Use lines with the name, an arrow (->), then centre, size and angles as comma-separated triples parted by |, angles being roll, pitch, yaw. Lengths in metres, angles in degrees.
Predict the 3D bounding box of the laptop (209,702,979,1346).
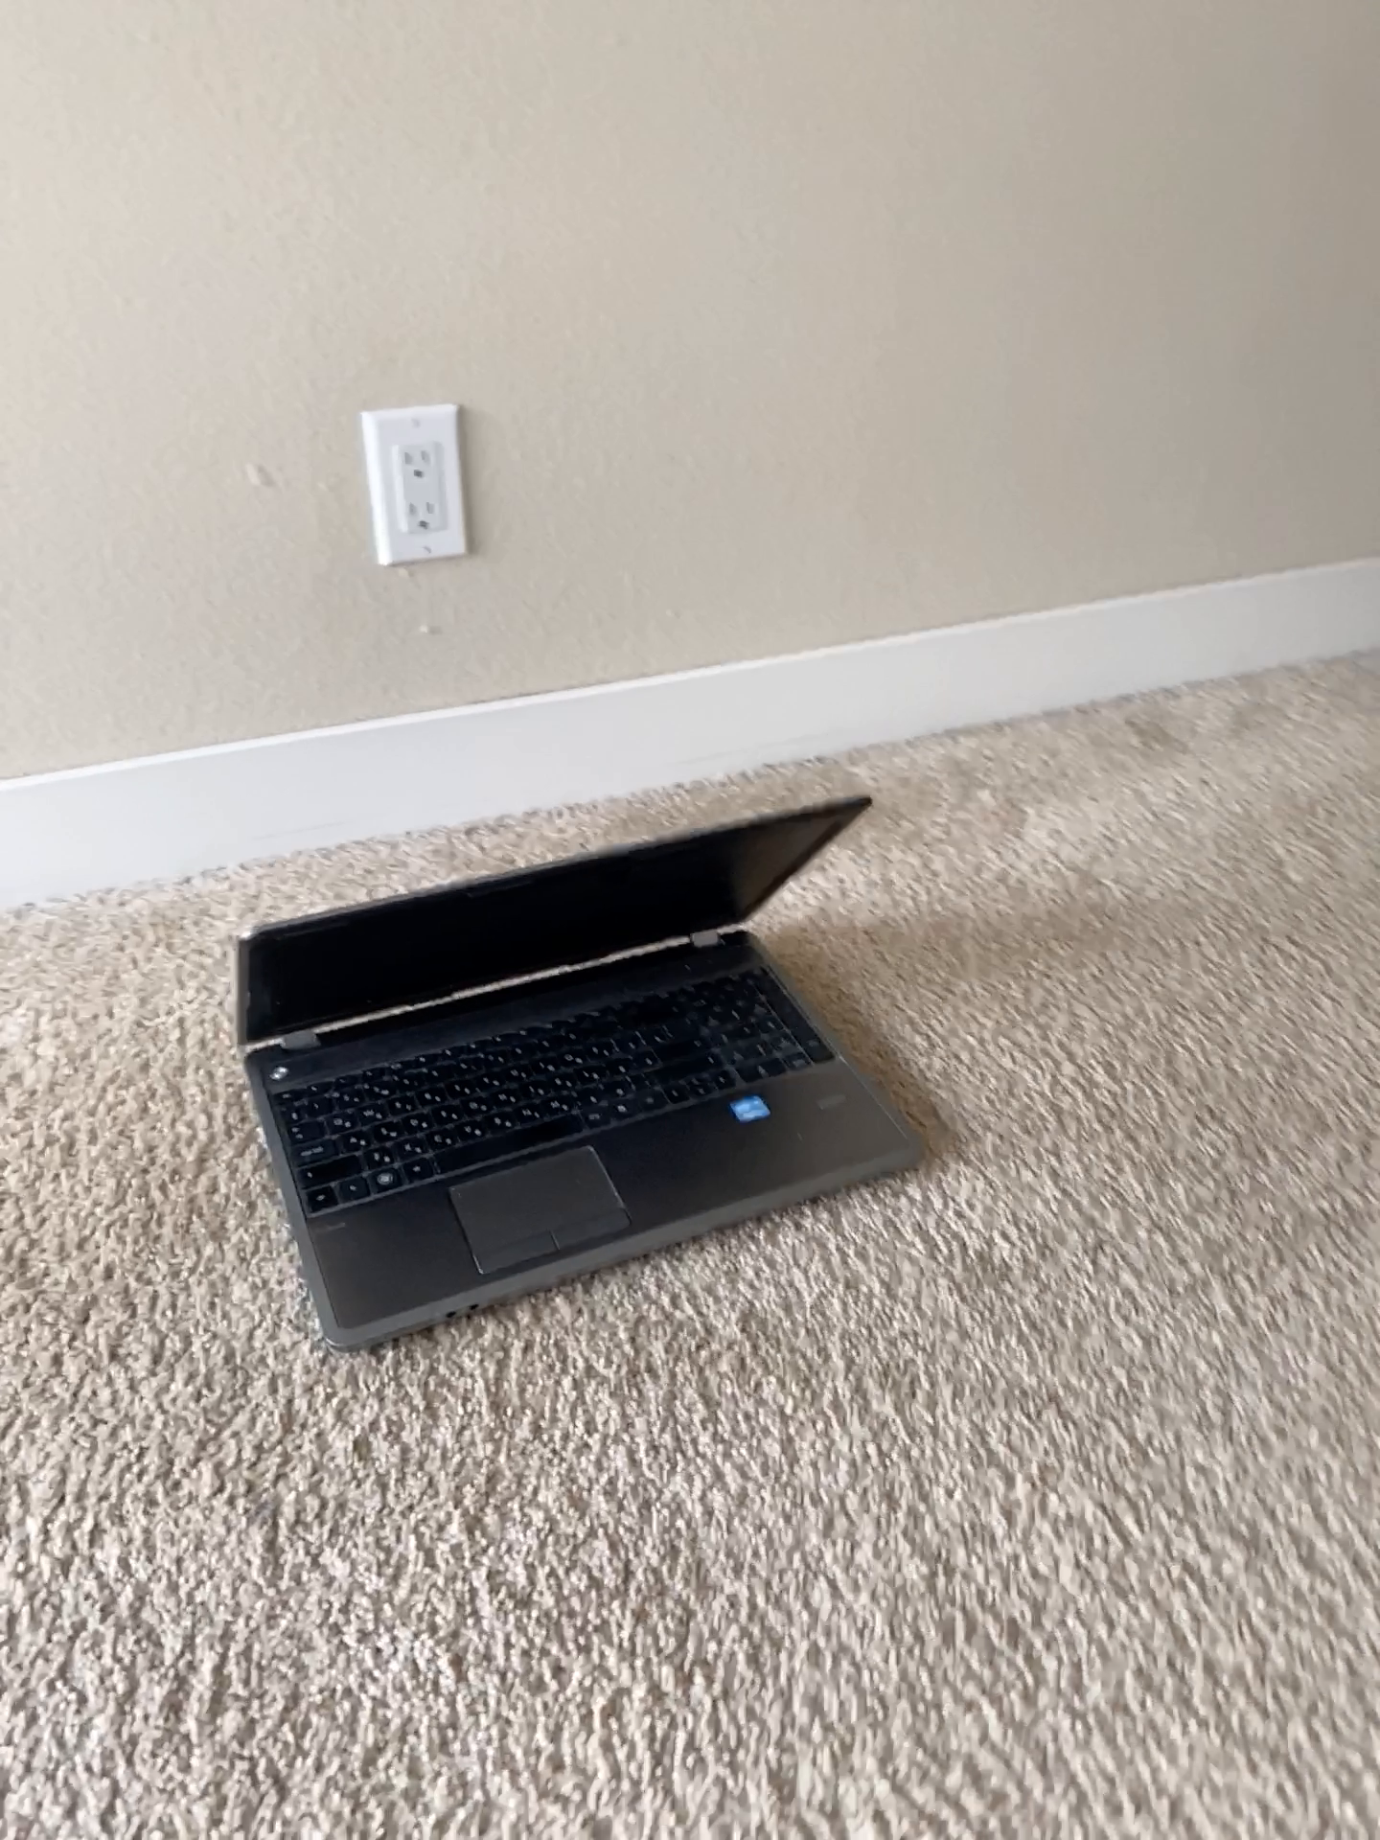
laptop -> -0.064, 0.039, 0.850 | 0.370, 0.189, 0.250 | -13, 38, -22
